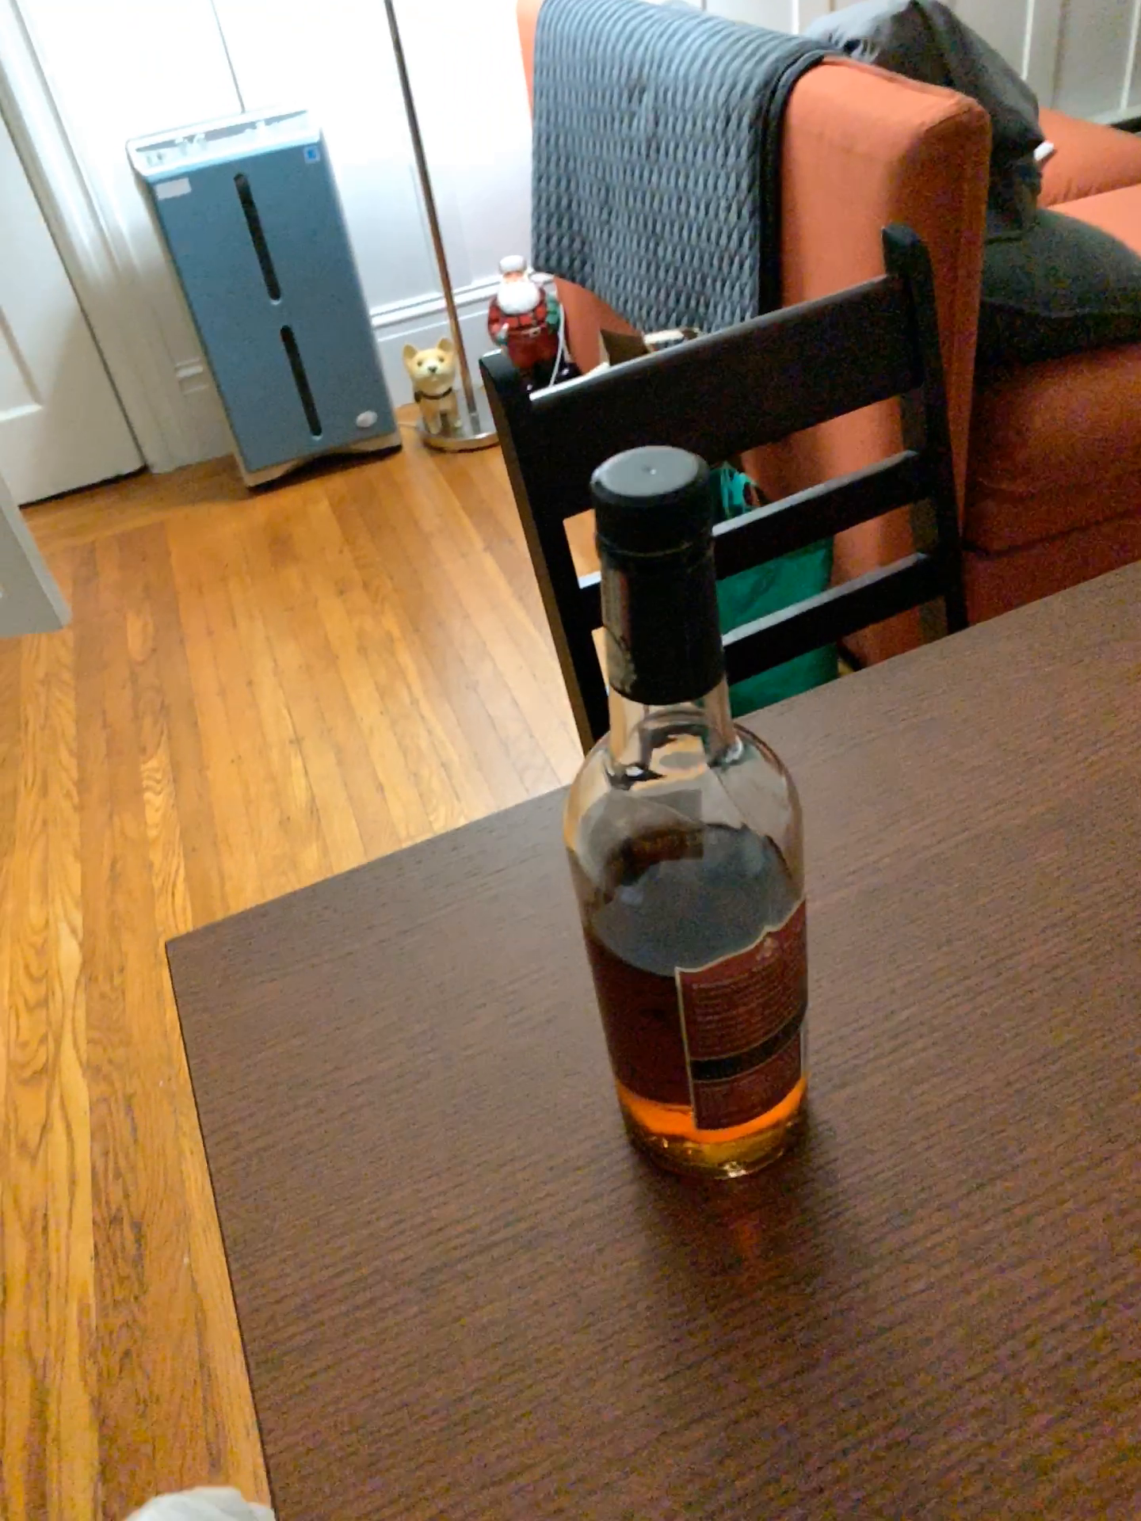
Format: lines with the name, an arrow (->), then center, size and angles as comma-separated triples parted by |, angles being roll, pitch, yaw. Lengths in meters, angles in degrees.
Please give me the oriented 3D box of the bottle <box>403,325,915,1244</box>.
bottle -> 0.039, 0.026, 0.381 | 0.090, 0.288, 0.091 | -6, 40, 5
